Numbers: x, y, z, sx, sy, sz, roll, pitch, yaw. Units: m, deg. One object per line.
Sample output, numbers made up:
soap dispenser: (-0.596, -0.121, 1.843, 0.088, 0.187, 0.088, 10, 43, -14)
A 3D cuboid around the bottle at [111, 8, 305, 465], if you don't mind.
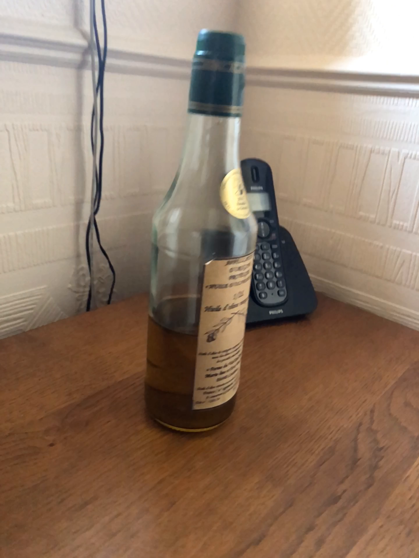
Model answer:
bottle: (-0.011, -0.020, 0.301, 0.080, 0.259, 0.070, 22, 28, 37)
